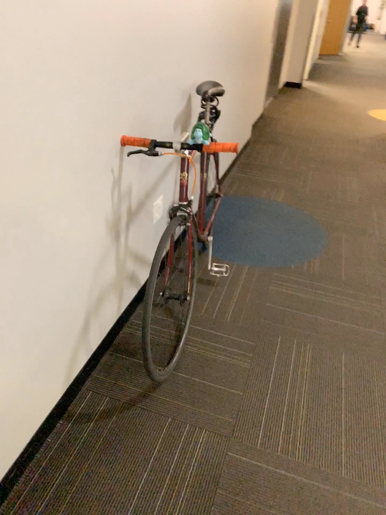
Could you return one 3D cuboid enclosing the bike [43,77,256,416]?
[{"bbox_3d":[-0.038,-0.249,1.922,0.448,0.909,1.634,9,33,7],"label":"bike"}]
